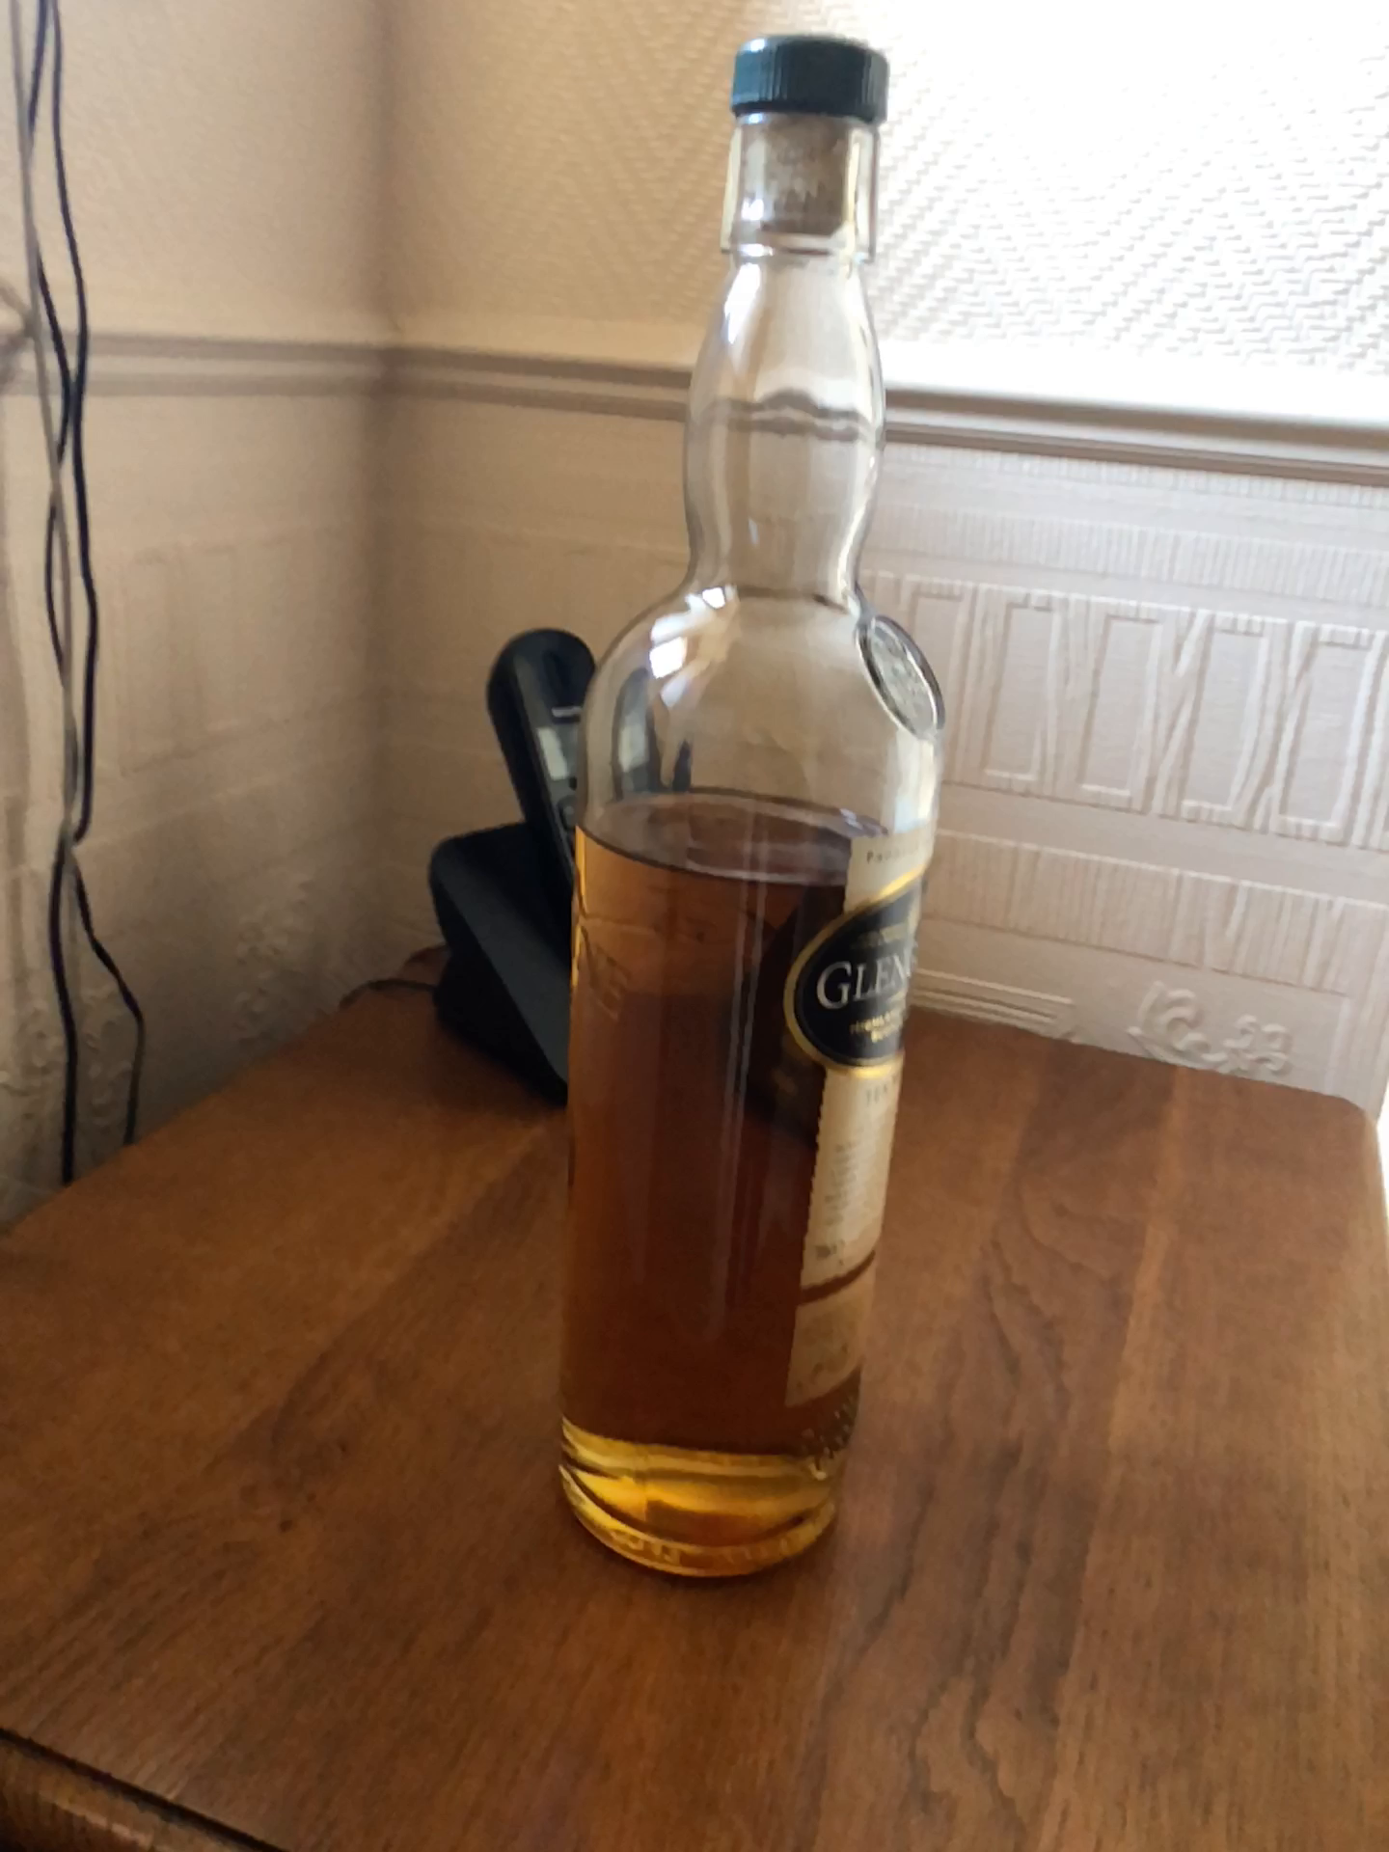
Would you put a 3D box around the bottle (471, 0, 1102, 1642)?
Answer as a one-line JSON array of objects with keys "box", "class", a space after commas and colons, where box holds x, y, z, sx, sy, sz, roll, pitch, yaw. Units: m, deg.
[{"box": [0.014, -0.017, 0.329, 0.080, 0.318, 0.091, 12, 22, 21], "class": "bottle"}]
